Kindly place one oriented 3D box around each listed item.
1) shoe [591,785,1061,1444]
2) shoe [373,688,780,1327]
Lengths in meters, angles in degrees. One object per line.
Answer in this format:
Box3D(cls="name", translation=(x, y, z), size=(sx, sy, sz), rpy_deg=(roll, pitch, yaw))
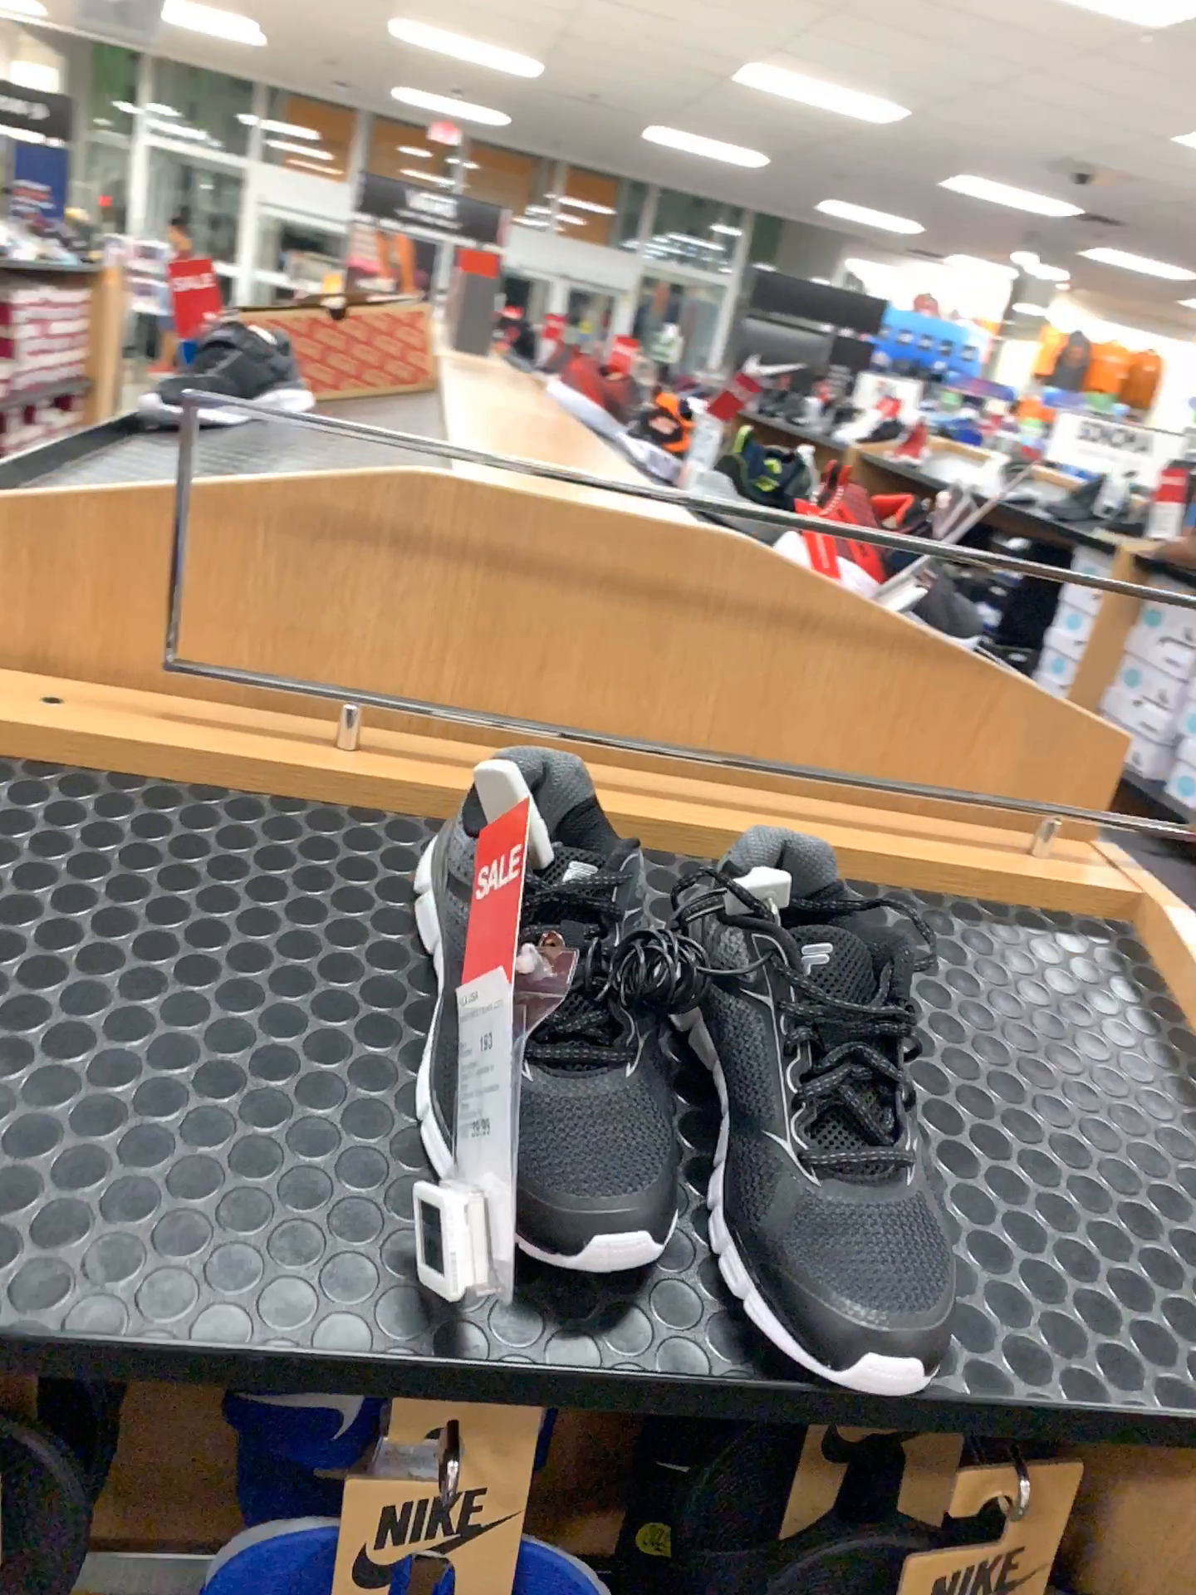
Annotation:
Box3D(cls="shoe", translation=(0.072, 0.110, 0.501), size=(0.100, 0.089, 0.246), rpy_deg=(-2, 41, -12))
Box3D(cls="shoe", translation=(-0.025, 0.071, 0.500), size=(0.100, 0.089, 0.246), rpy_deg=(5, 40, -20))
